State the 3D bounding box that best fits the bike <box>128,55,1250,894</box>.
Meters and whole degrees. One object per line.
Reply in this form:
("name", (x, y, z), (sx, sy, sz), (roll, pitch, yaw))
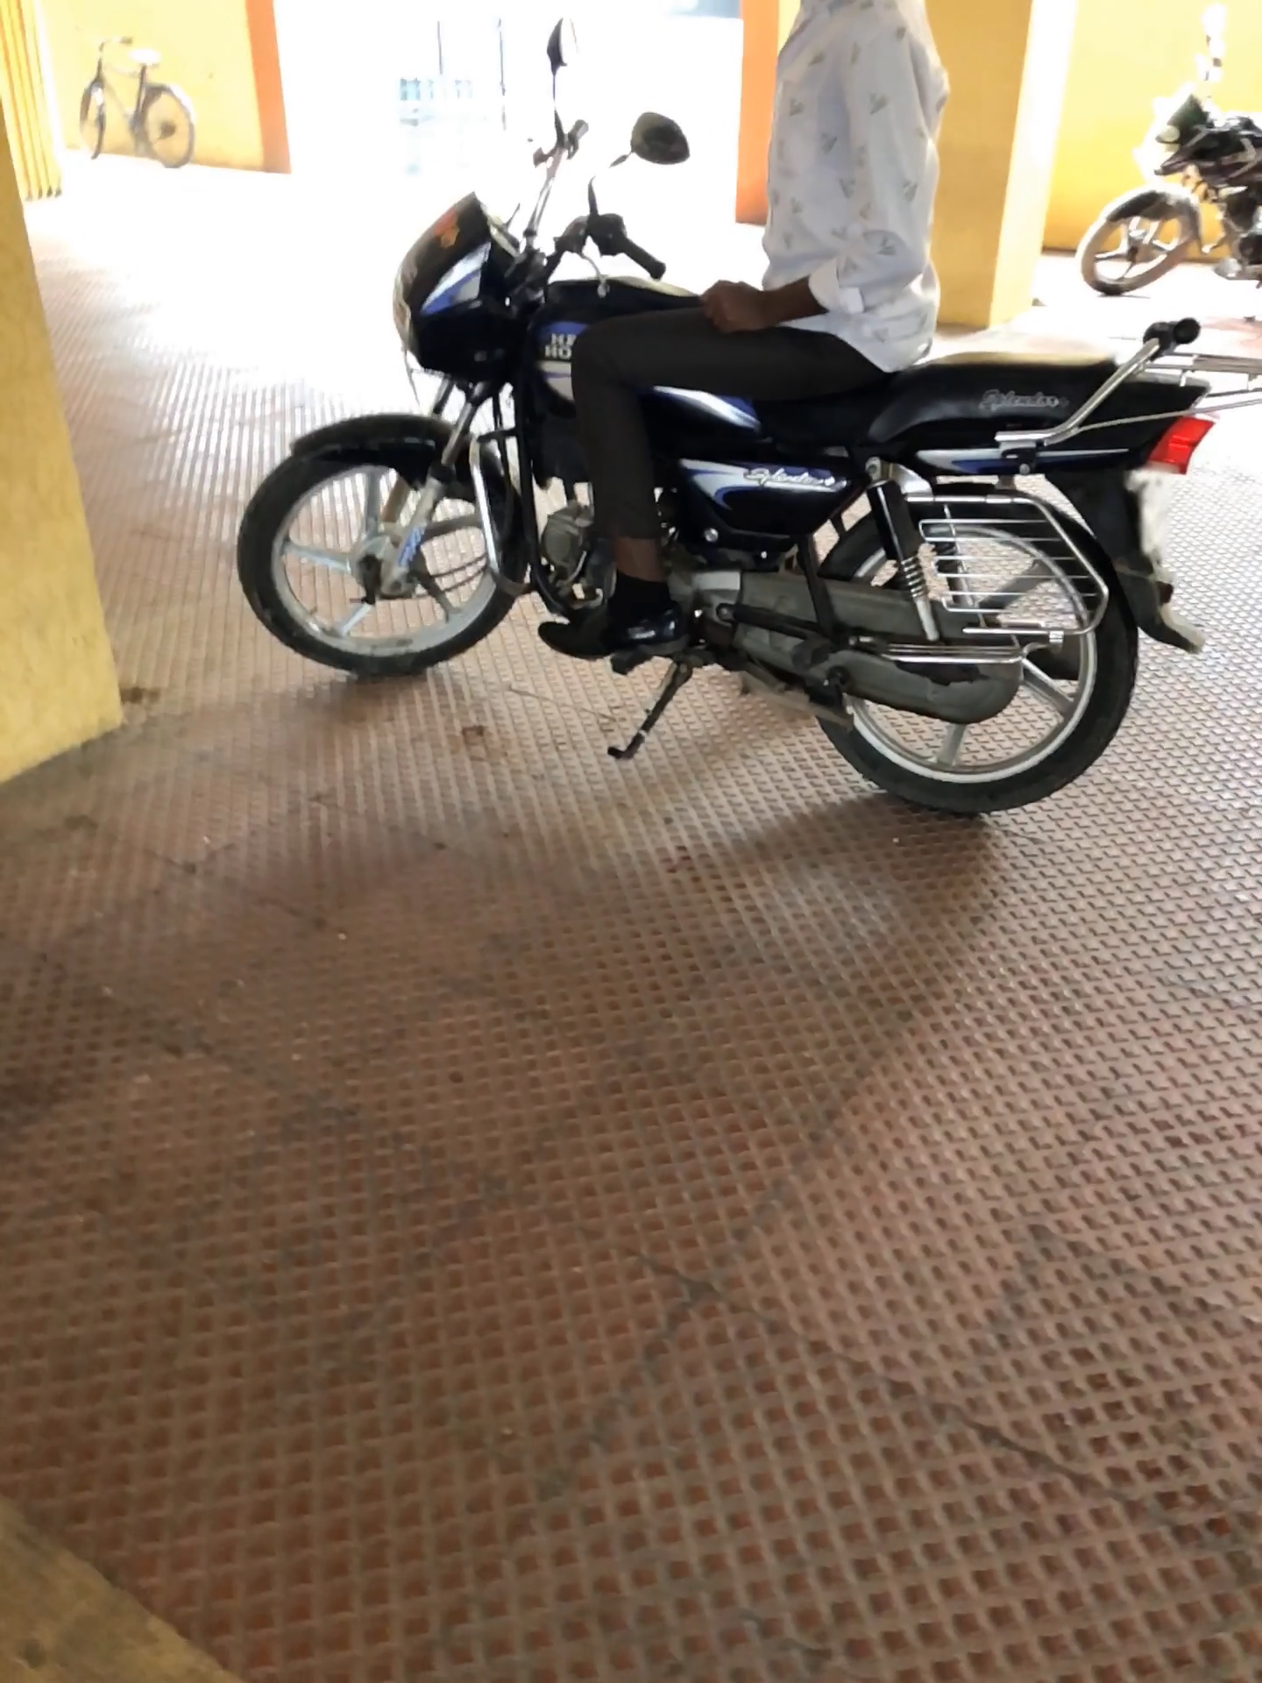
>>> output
("bike", (0.111, -0.743, 2.562), (1.705, 1.107, 0.688), (12, 33, 15))
